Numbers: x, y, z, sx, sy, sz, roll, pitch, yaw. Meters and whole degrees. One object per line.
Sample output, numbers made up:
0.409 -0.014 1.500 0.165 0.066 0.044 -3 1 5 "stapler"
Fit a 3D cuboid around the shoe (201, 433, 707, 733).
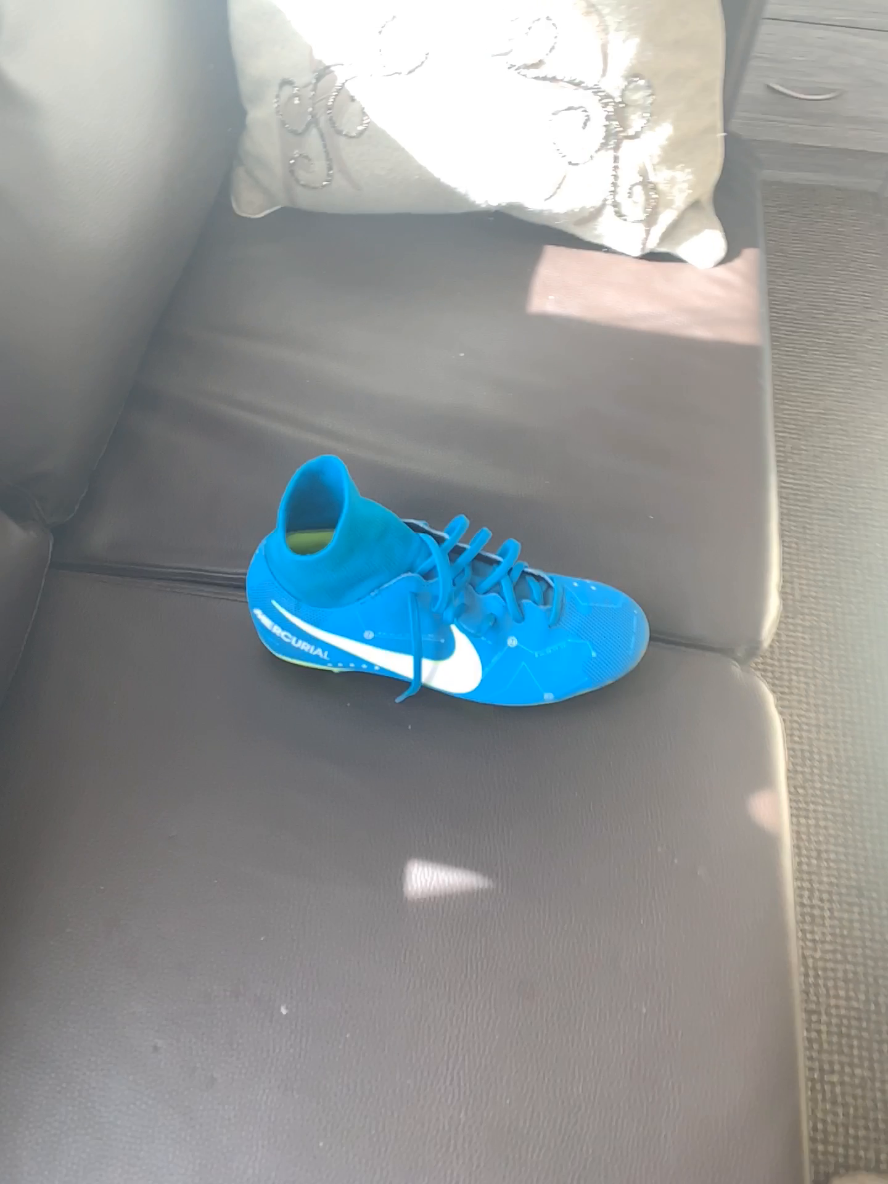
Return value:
0.008 -0.001 0.519 0.250 0.119 0.099 7 61 2 "shoe"
